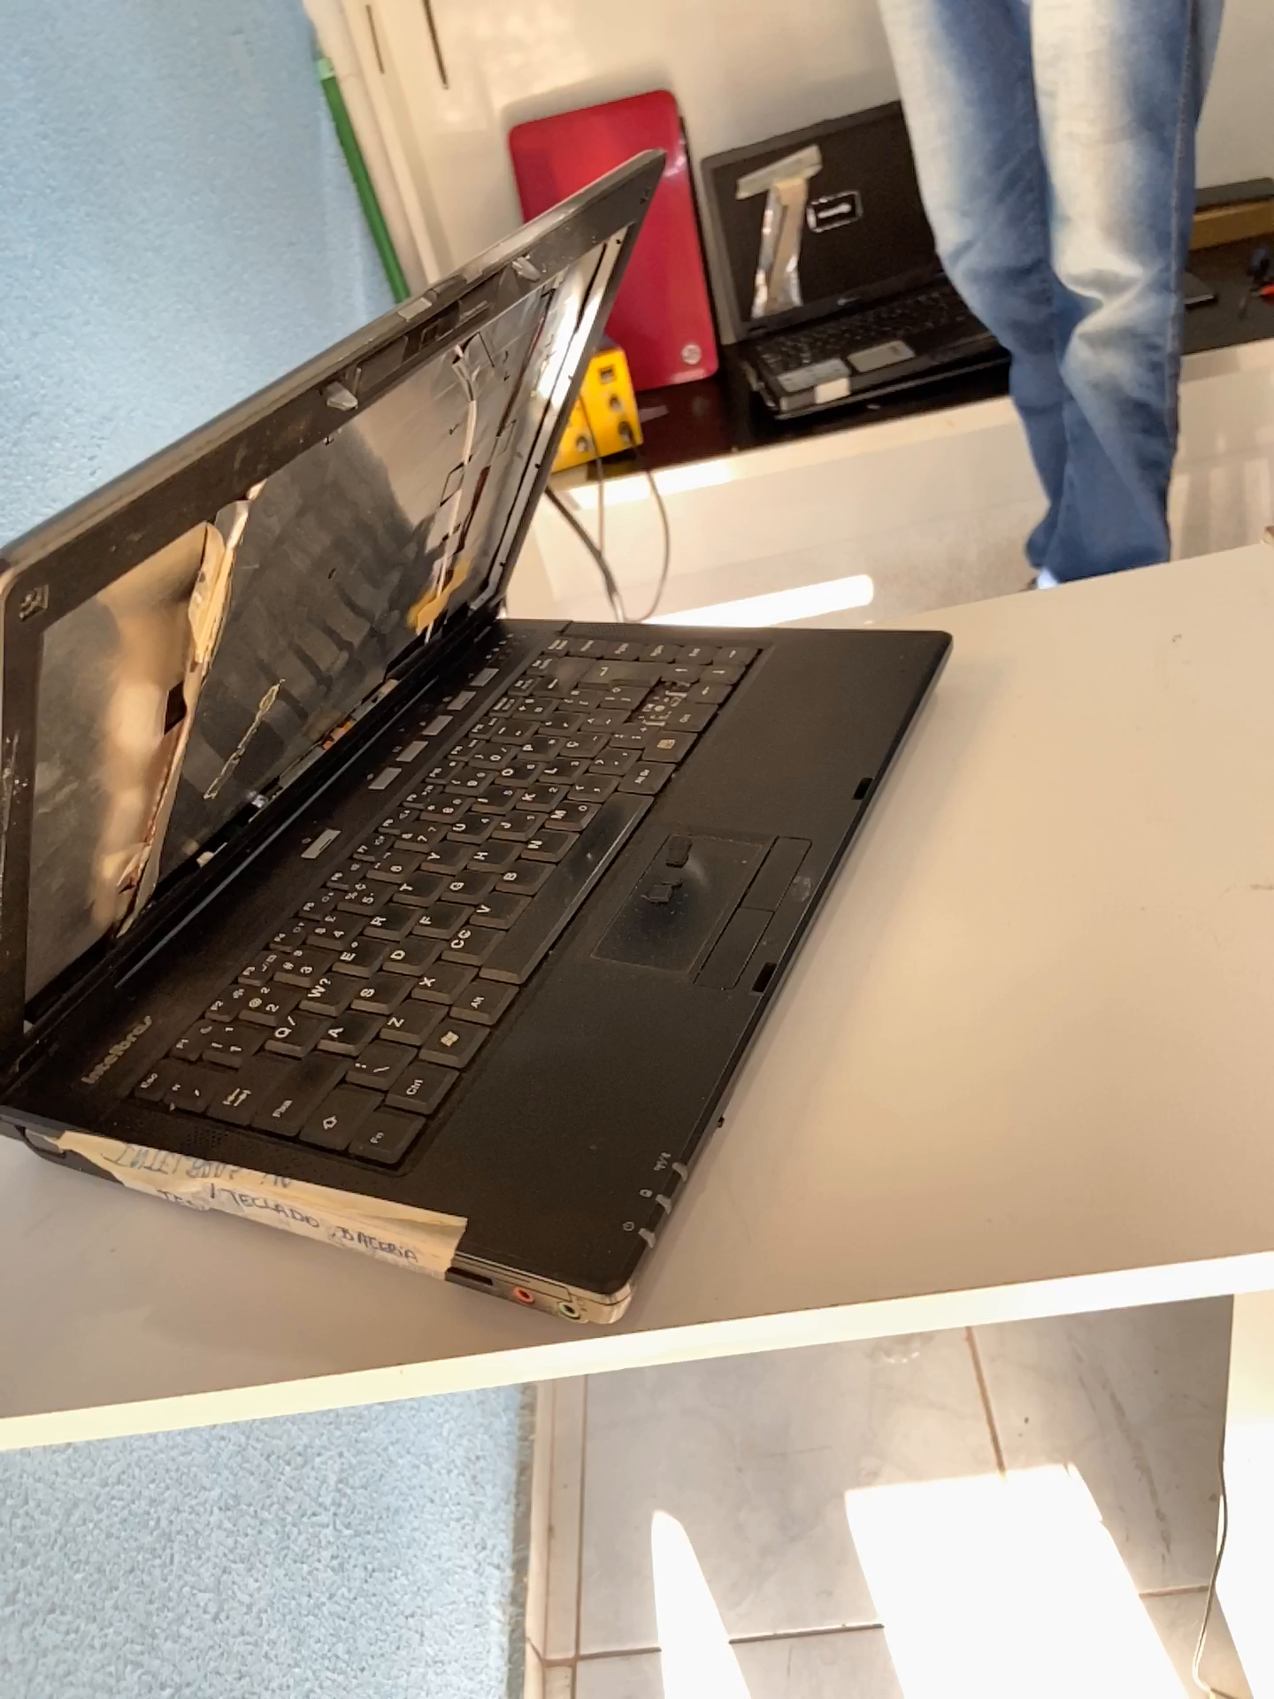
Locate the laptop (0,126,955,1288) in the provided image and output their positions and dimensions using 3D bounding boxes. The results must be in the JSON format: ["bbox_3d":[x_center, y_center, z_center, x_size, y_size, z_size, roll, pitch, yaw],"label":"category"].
[{"bbox_3d":[-0.058,-0.078,0.431,0.231,0.191,0.324,6,40,28],"label":"laptop"}]
